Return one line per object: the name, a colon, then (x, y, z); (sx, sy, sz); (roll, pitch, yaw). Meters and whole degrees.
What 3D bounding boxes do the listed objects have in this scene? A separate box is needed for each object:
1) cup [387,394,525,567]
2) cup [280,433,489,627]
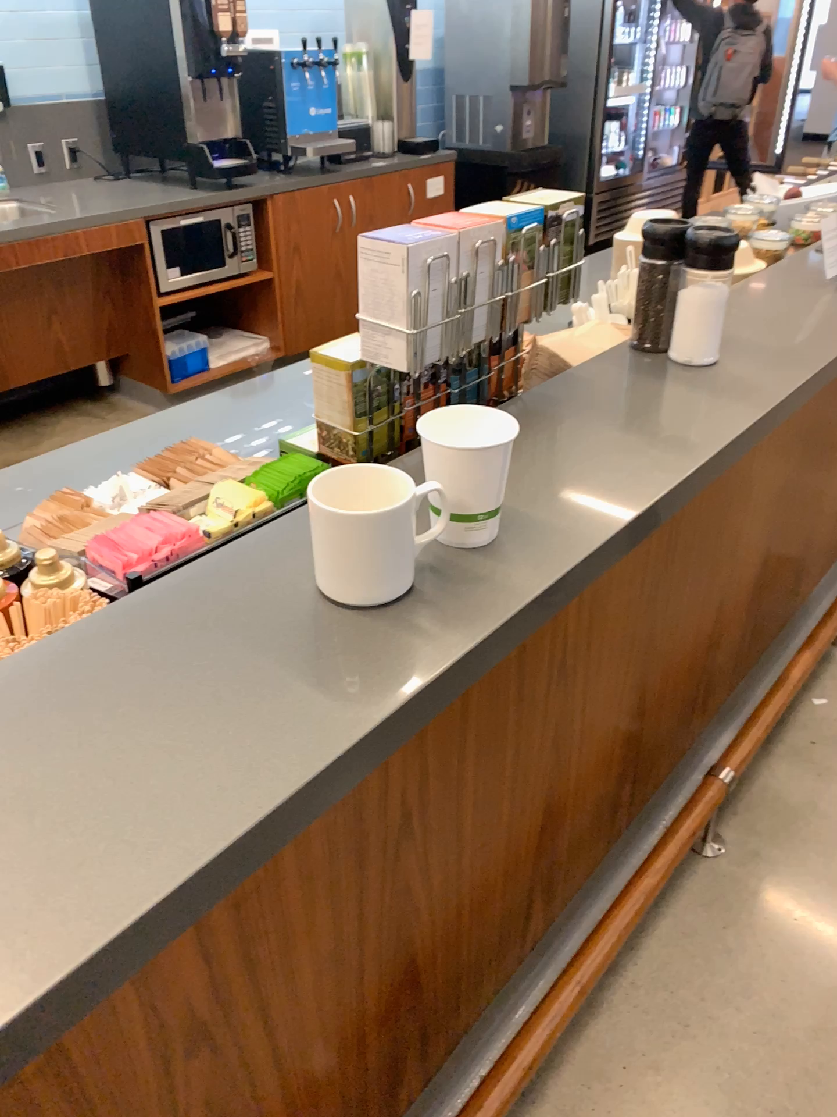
cup: (0.033, -0.071, 0.762); (0.080, 0.109, 0.090); (22, 39, 32)
cup: (-0.026, -0.026, 0.667); (0.130, 0.089, 0.091); (-18, 36, -25)
